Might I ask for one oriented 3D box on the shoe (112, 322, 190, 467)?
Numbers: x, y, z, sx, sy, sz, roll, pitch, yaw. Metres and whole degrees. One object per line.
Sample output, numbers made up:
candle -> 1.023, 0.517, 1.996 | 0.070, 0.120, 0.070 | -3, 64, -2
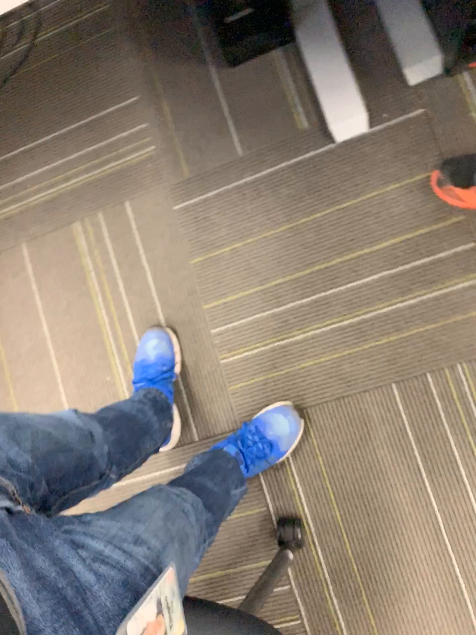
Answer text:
shoe -> -0.204, 0.175, 1.163 | 0.142, 0.088, 0.310 | 6, 97, 13

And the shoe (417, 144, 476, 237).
shoe -> 0.509, -0.244, 0.925 | 0.305, 0.088, 0.117 | 14, 112, 17

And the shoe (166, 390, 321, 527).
shoe -> 0.010, 0.316, 1.112 | 0.339, 0.088, 0.119 | -40, 79, 17
